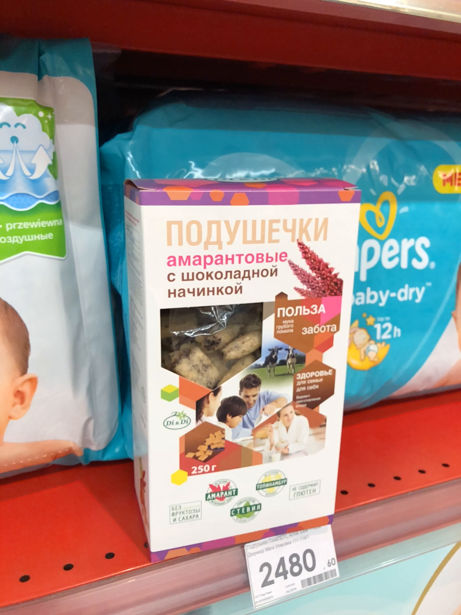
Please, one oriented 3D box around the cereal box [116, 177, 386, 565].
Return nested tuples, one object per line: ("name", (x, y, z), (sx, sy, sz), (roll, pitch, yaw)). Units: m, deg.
("cereal box", (0.006, 0.032, 0.325), (0.140, 0.219, 0.070), (-4, 17, -17))
